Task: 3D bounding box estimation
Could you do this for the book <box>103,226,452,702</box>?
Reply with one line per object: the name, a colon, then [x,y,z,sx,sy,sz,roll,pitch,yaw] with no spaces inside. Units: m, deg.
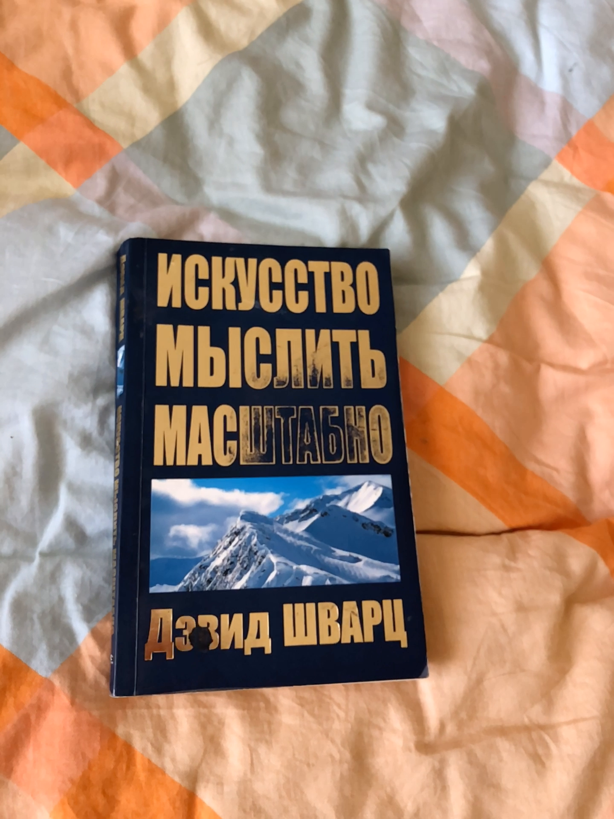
book: [-0.014,0.016,0.288,0.127,0.028,0.189,0,72,-9]
